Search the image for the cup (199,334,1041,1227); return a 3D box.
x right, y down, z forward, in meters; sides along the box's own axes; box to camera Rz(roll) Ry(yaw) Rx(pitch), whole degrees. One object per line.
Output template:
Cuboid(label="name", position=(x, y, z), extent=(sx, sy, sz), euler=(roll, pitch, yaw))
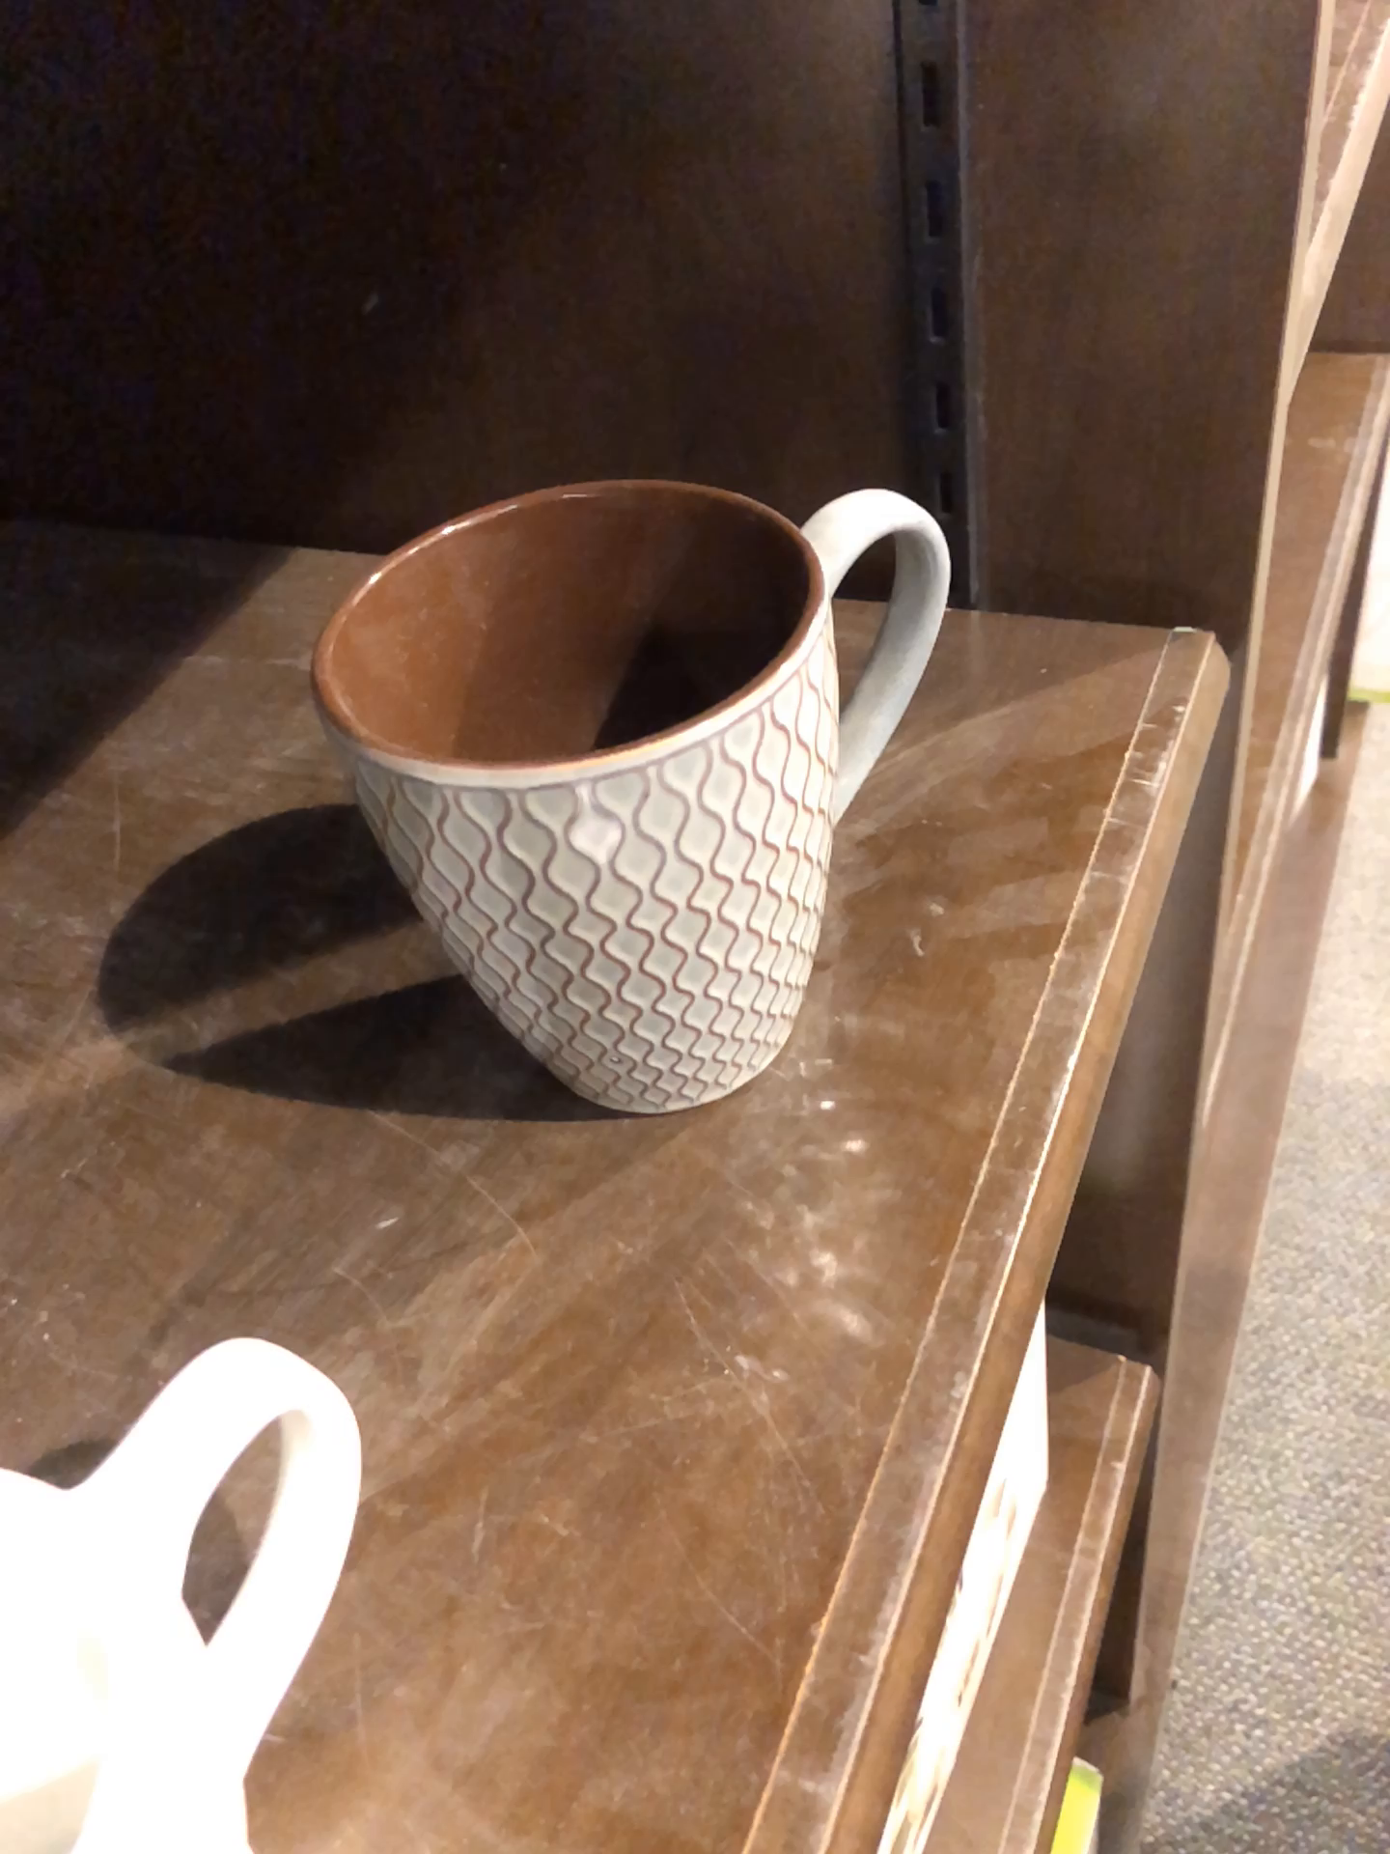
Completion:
Cuboid(label="cup", position=(-0.005, -0.034, 0.309), extent=(0.085, 0.098, 0.132), euler=(27, 56, 29))
